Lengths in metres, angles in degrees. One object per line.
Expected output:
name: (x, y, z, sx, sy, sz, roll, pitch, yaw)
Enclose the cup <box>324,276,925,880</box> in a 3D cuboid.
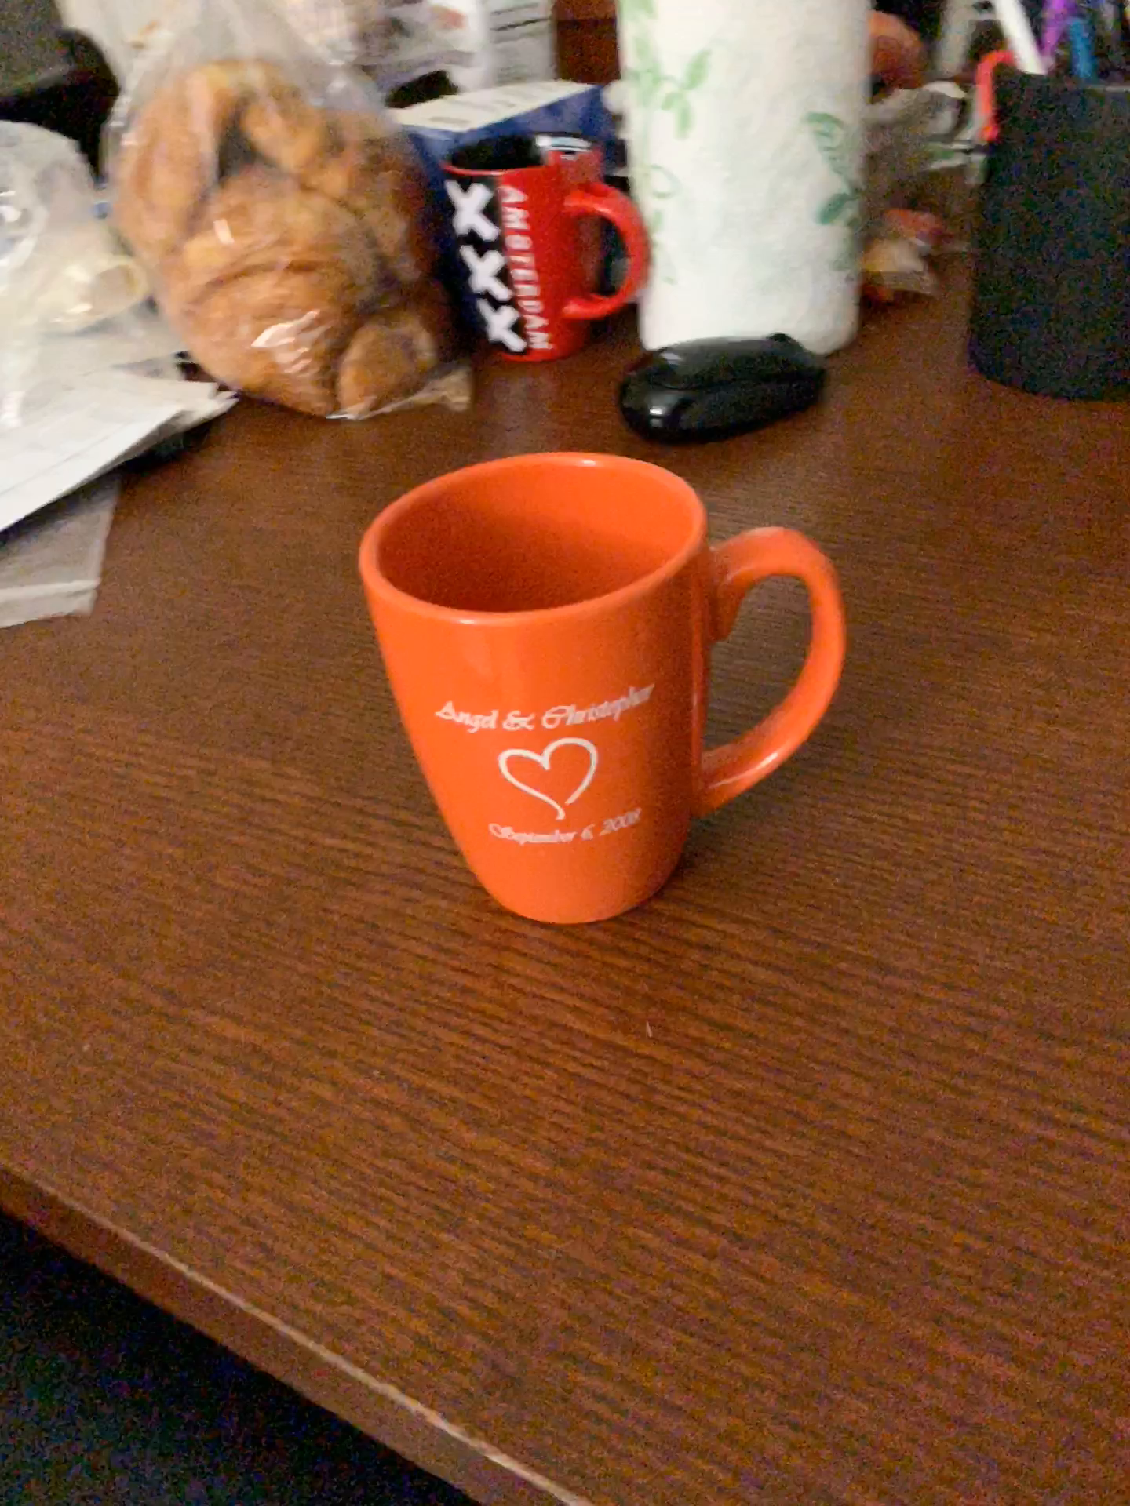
cup: (0.012, -0.052, 0.323, 0.130, 0.109, 0.101, -12, 38, -5)
